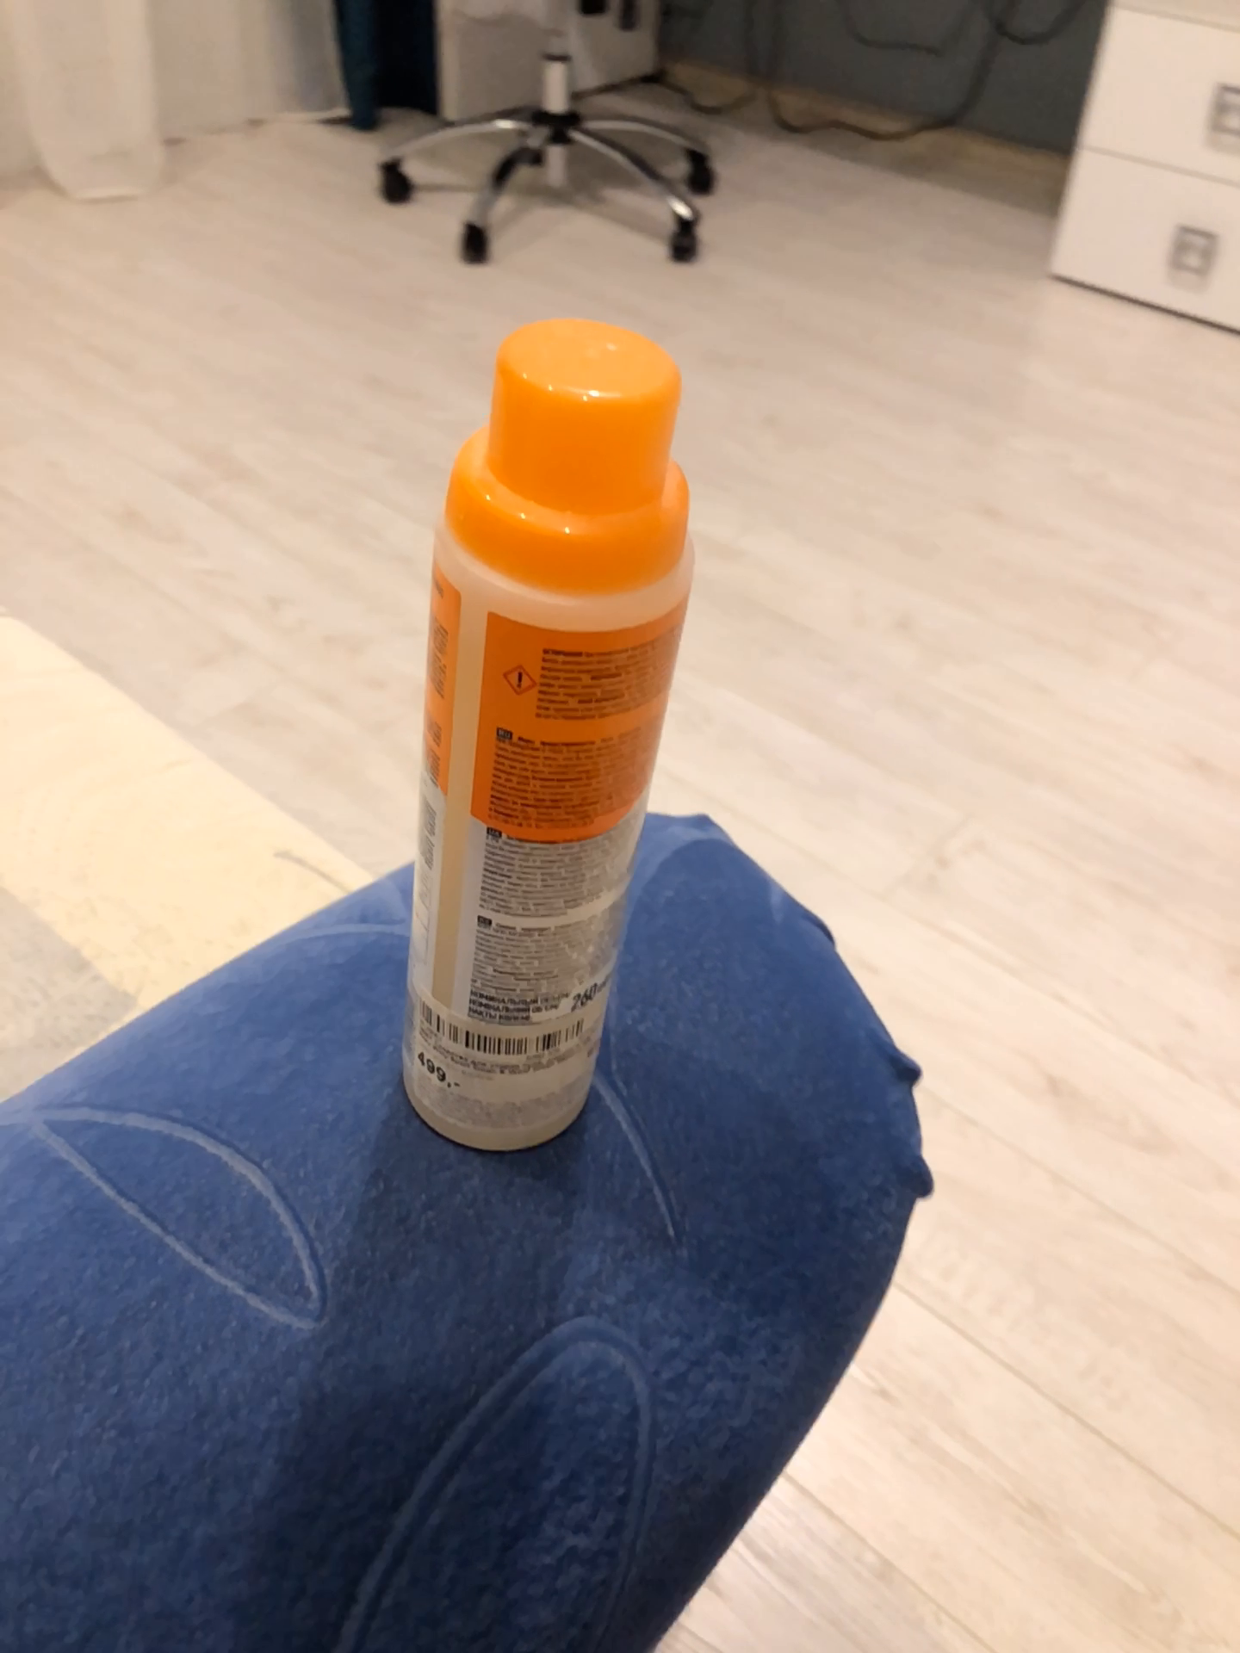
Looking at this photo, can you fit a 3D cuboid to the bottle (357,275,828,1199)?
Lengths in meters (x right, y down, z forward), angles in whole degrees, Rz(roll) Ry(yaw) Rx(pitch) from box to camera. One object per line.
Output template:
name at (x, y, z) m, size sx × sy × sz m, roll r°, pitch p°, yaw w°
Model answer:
bottle at (-0.014, -0.008, 0.288) m, size 0.052 × 0.188 × 0.052 m, roll 7°, pitch 40°, yaw -6°
